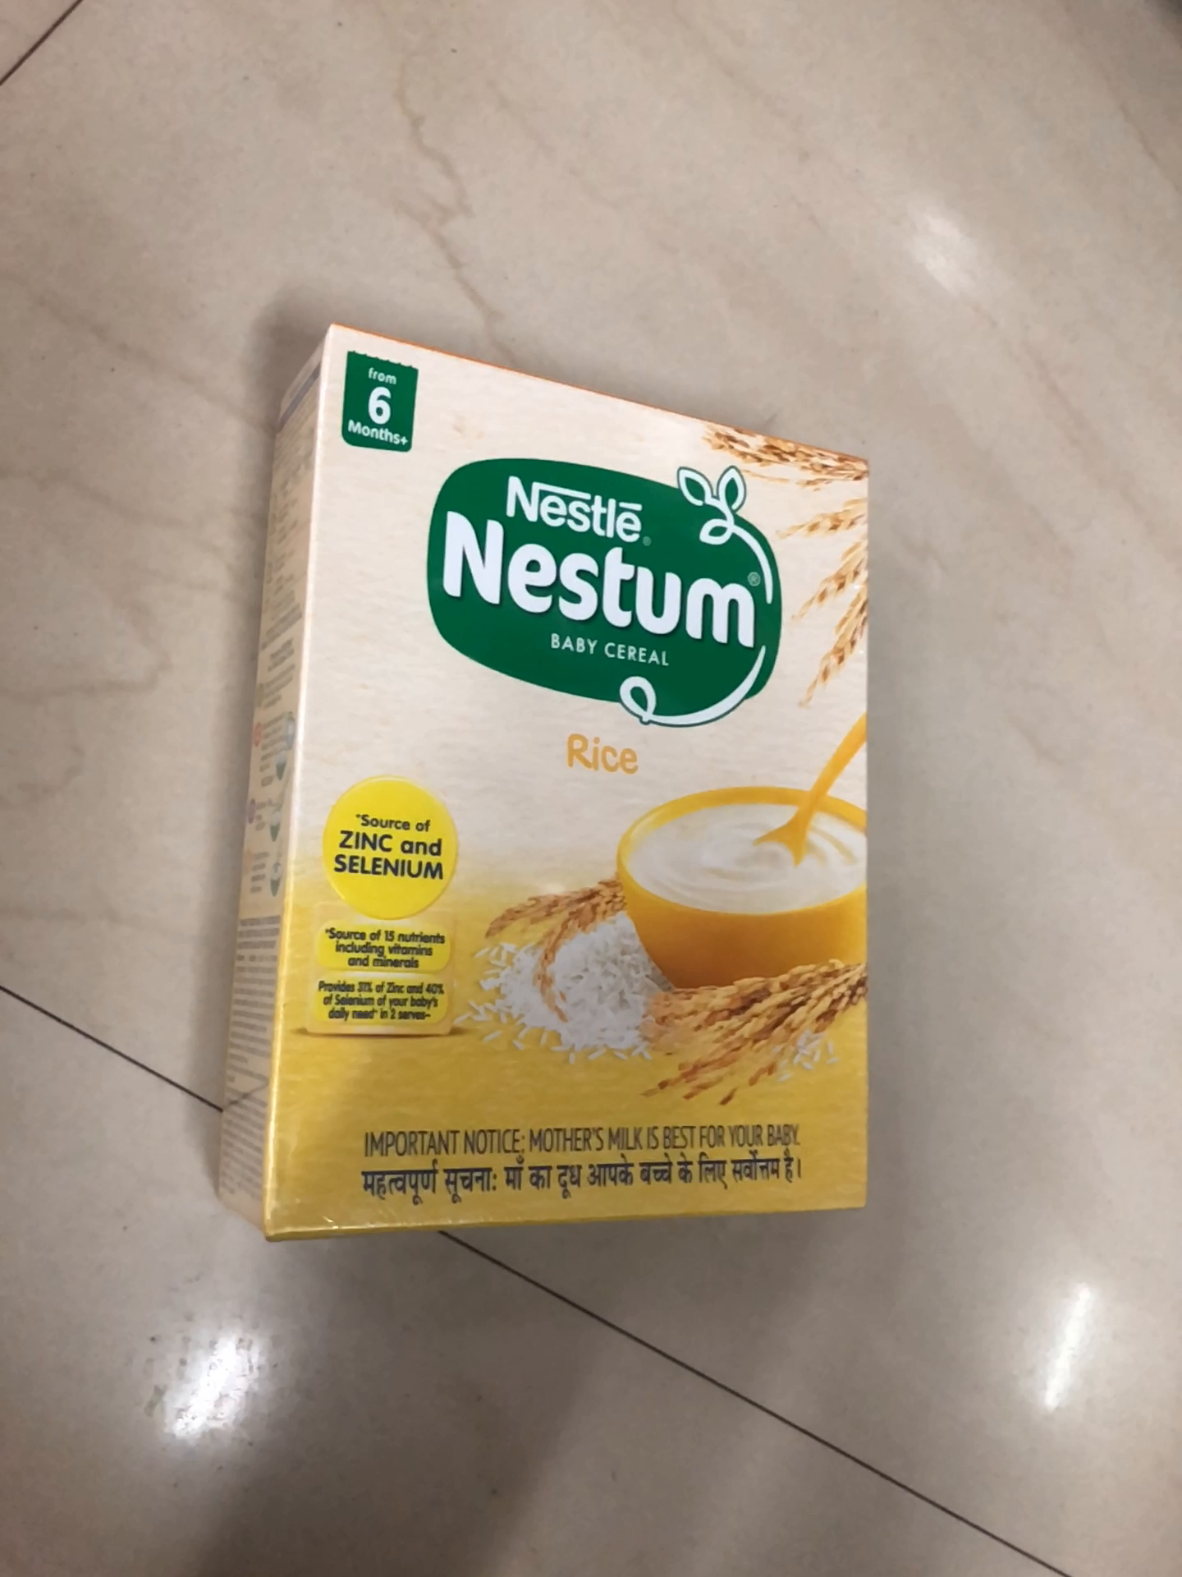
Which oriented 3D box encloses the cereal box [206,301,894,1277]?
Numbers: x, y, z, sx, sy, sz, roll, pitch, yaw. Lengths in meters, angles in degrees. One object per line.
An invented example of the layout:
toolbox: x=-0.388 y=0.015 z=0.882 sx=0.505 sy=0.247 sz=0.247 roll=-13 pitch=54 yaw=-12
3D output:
cereal box: x=-0.005 y=0.005 z=0.325 sx=0.150 sy=0.060 sz=0.200 roll=6 pitch=81 yaw=-25
